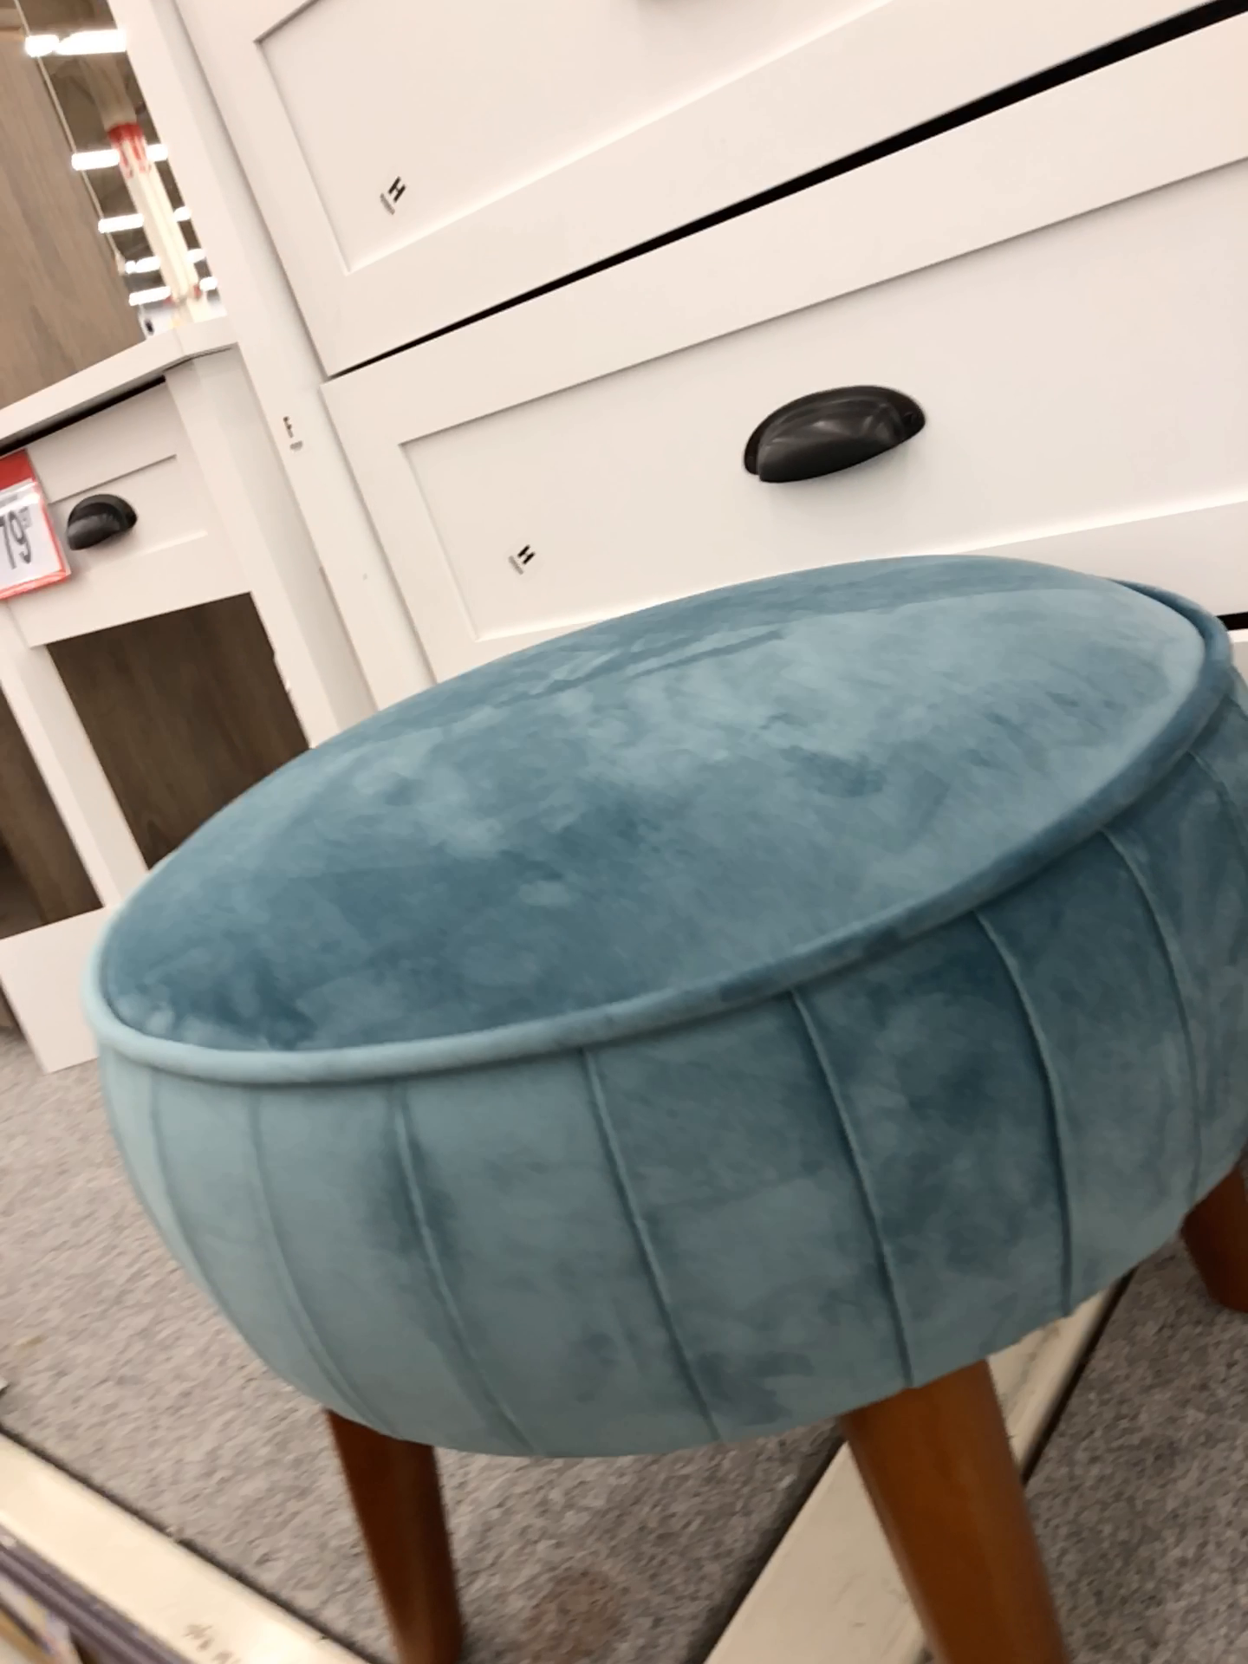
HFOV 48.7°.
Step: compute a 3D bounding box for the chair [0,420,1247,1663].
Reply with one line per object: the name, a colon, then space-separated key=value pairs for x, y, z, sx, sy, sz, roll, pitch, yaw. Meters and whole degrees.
chair: x=0.065 y=0.114 z=0.556 sx=0.371 sy=0.399 sz=0.370 roll=-1 pitch=25 yaw=43
